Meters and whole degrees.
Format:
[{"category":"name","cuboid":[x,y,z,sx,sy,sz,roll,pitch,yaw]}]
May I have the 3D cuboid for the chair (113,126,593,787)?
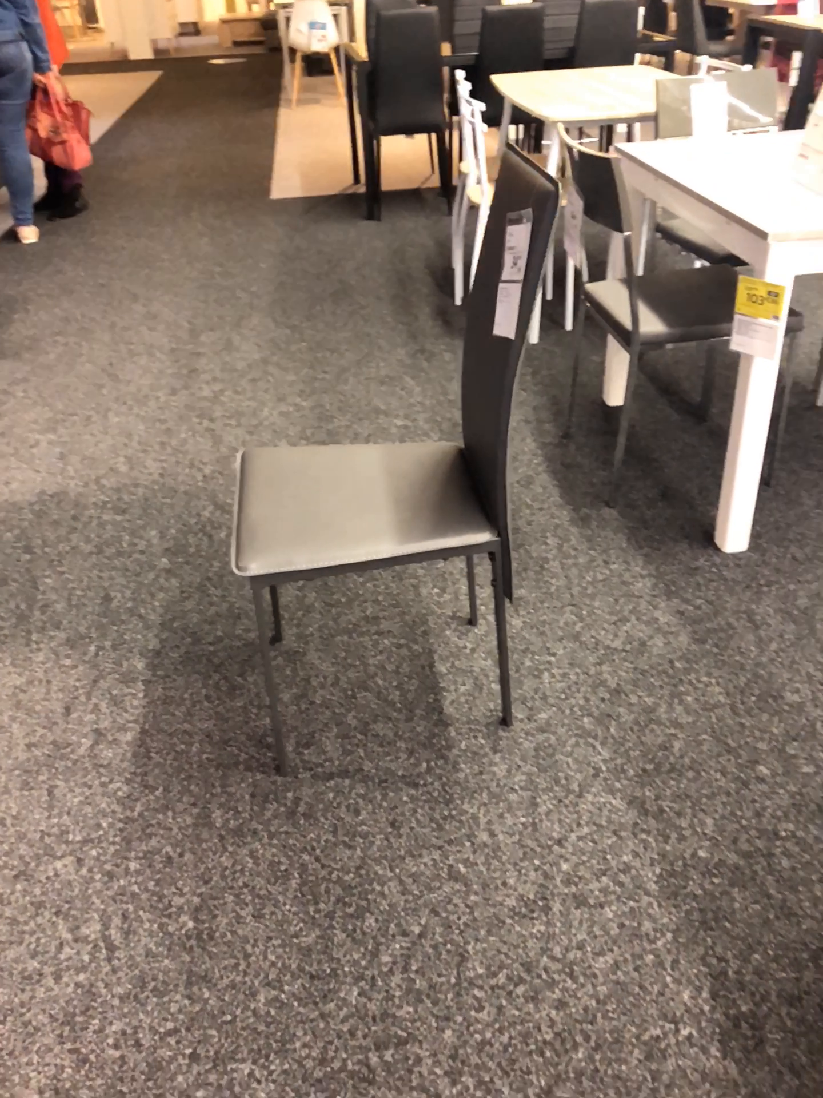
[{"category":"chair","cuboid":[-0.069,-0.138,1.501,0.560,0.935,0.473,-6,34,-4]}]
